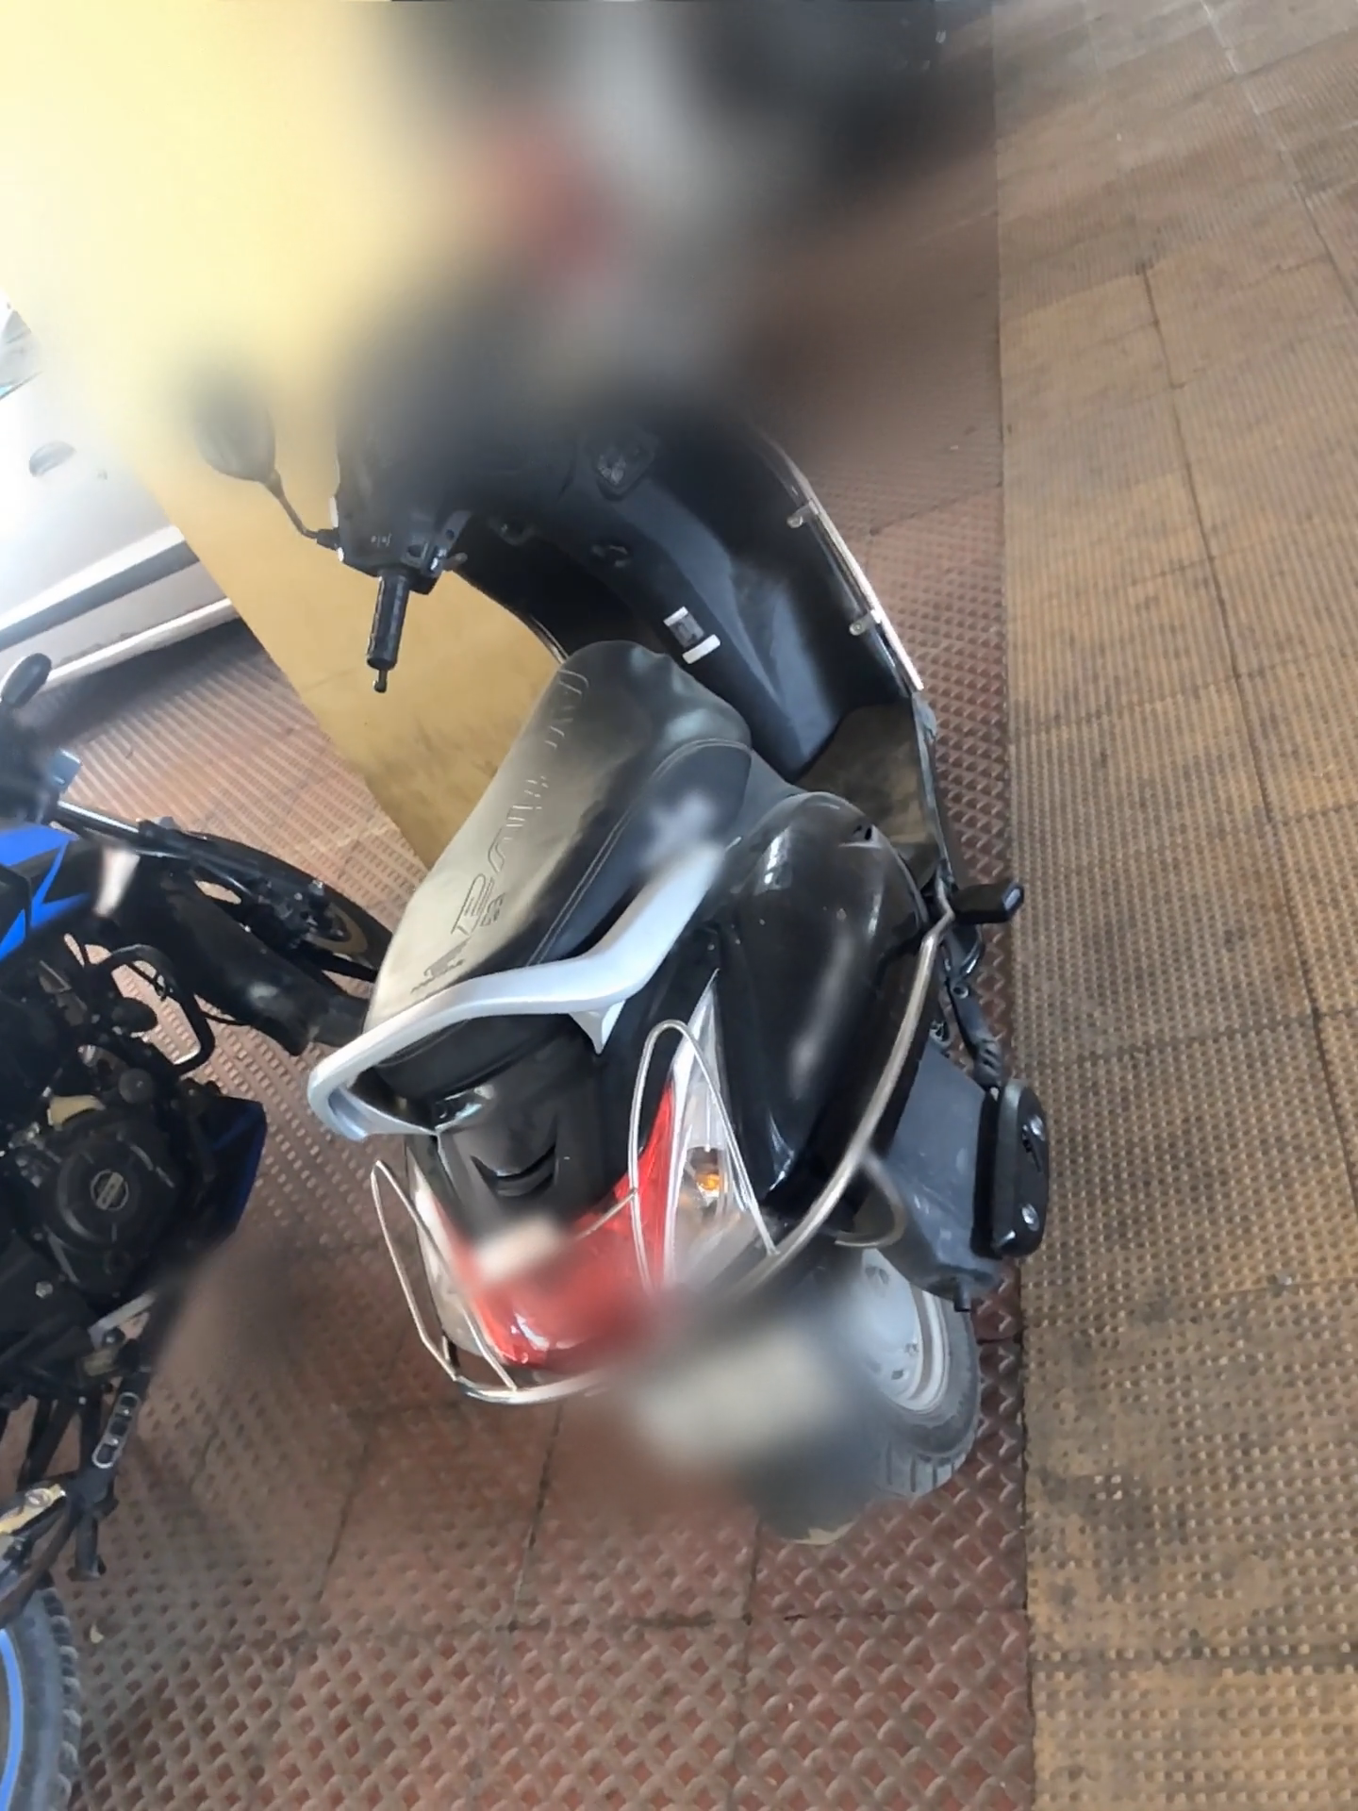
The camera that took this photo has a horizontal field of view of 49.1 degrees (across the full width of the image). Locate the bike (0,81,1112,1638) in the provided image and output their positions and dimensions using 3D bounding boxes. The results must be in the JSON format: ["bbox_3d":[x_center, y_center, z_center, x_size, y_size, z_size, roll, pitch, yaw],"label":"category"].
[{"bbox_3d":[-0.162,-0.139,1.867,0.608,1.172,1.448,-24,37,12],"label":"bike"}]
